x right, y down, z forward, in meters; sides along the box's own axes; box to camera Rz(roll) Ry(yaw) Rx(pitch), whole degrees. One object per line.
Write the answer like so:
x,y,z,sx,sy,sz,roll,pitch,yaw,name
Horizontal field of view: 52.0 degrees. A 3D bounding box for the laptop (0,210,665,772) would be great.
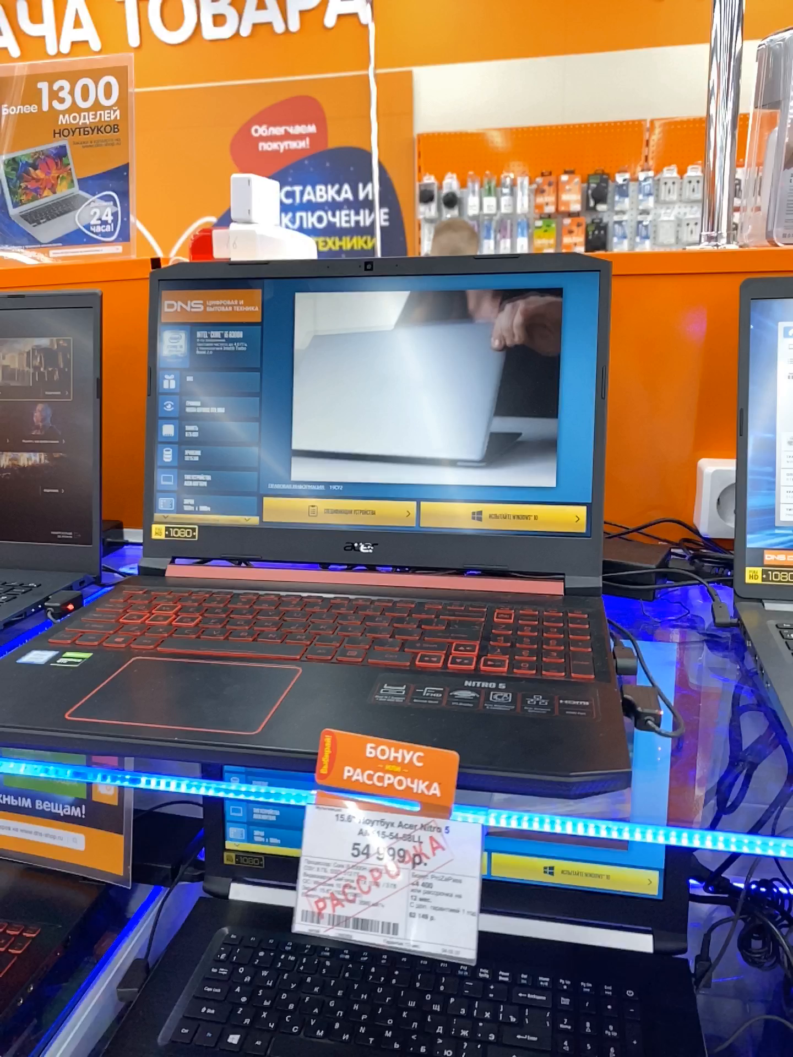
-0.046,-0.049,0.510,0.360,0.237,0.303,2,14,10,laptop
